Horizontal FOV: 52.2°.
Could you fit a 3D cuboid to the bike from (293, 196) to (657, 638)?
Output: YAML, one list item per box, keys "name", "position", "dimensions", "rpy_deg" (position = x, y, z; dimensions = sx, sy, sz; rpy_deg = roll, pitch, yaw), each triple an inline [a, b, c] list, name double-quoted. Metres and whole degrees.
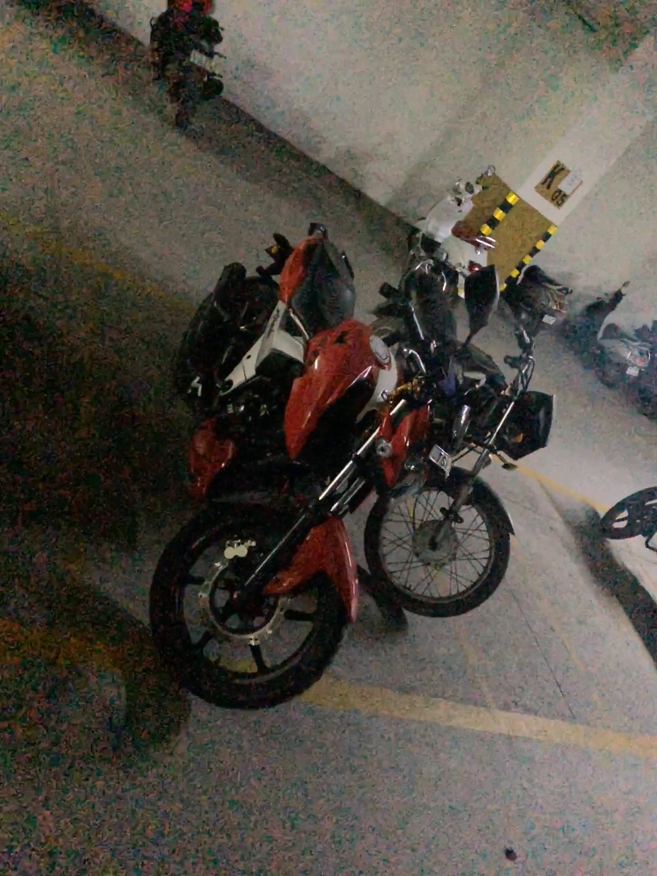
- name: "bike"
  position: [0.561, -0.128, 2.983]
  dimensions: [0.675, 0.934, 1.569]
  rpy_deg: [19, 35, -37]

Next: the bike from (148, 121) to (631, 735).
- name: "bike"
  position: [0.032, -0.072, 2.384]
  dimensions: [0.803, 1.006, 1.696]
  rpy_deg: [19, 37, -37]
